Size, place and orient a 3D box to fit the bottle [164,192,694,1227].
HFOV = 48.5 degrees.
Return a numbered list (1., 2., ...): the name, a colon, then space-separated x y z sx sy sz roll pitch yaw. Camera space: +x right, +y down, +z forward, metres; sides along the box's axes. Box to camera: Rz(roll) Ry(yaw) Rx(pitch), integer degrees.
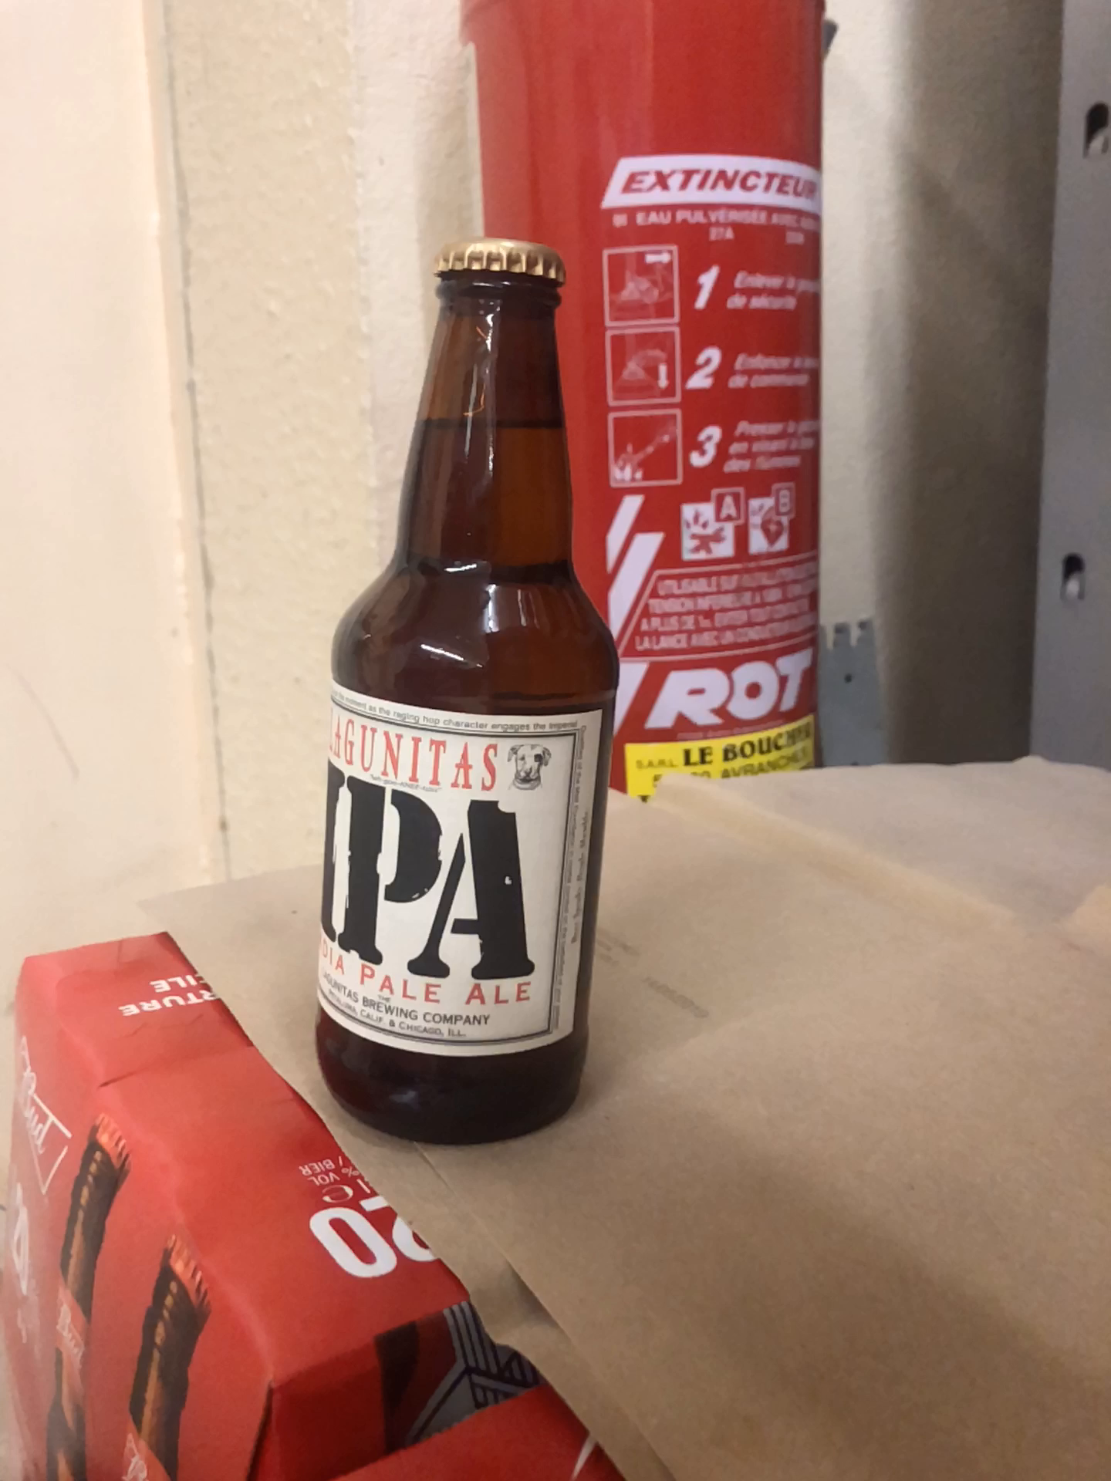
1. bottle: -0.026 -0.010 0.285 0.080 0.199 0.080 1 14 0
